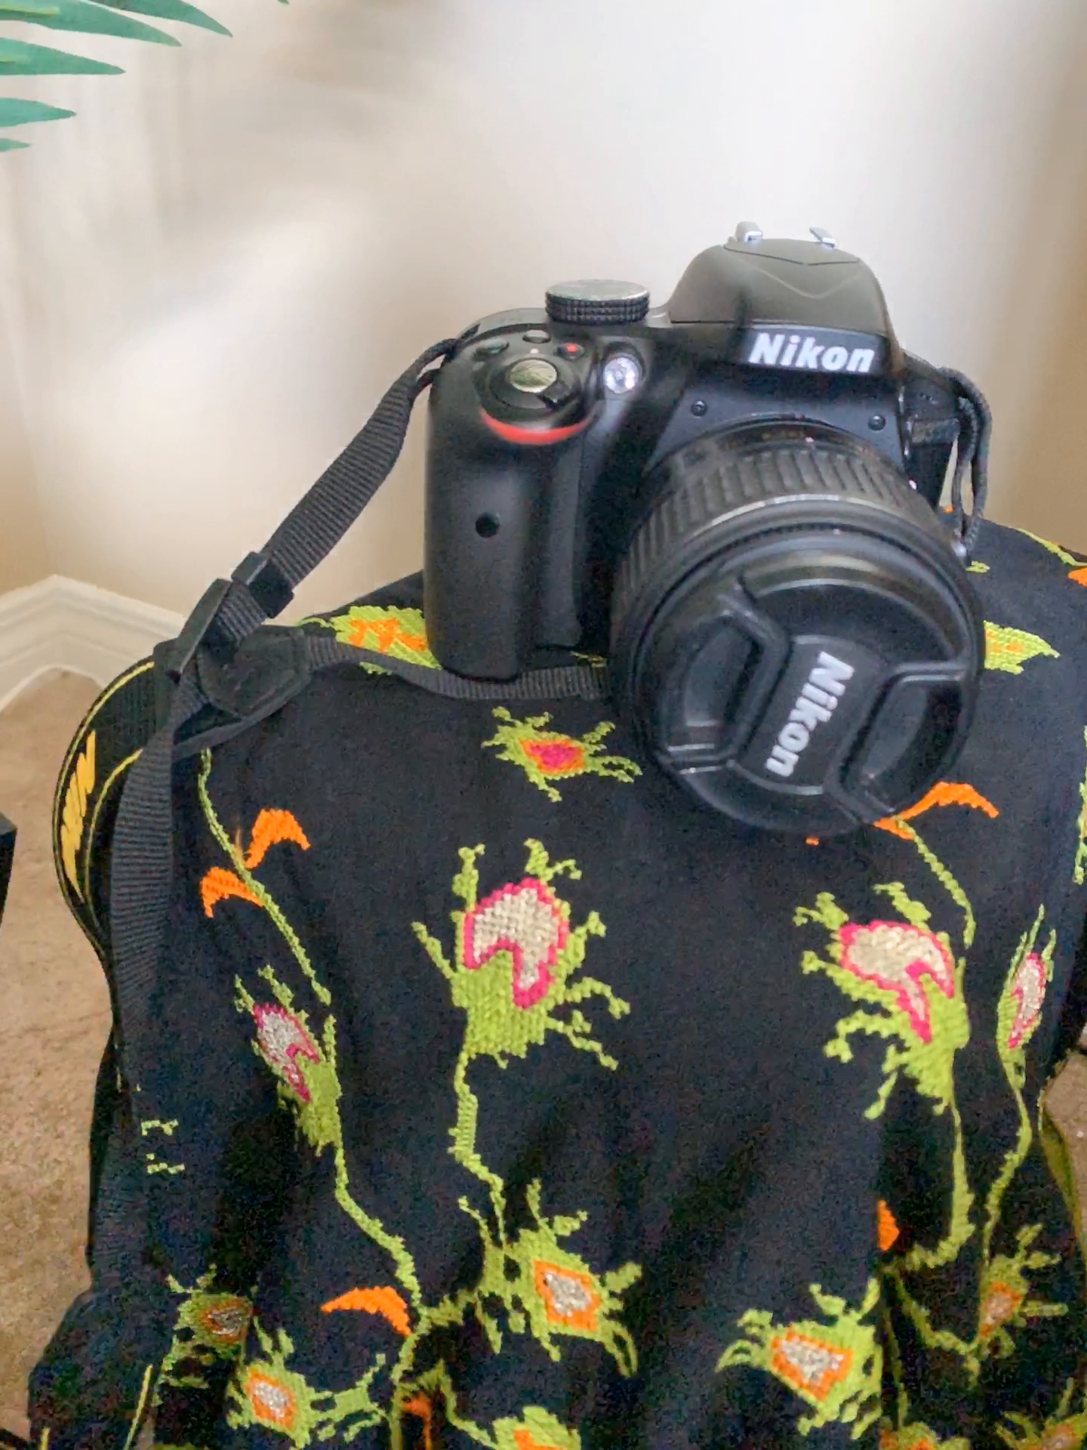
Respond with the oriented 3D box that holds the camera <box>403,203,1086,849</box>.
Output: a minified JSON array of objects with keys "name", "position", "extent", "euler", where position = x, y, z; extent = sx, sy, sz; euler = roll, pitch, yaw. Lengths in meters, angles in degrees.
[{"name":"camera","position":[0.036,-0.045,0.232],"extent":[0.120,0.099,0.091],"euler":[3,30,-2]}]
